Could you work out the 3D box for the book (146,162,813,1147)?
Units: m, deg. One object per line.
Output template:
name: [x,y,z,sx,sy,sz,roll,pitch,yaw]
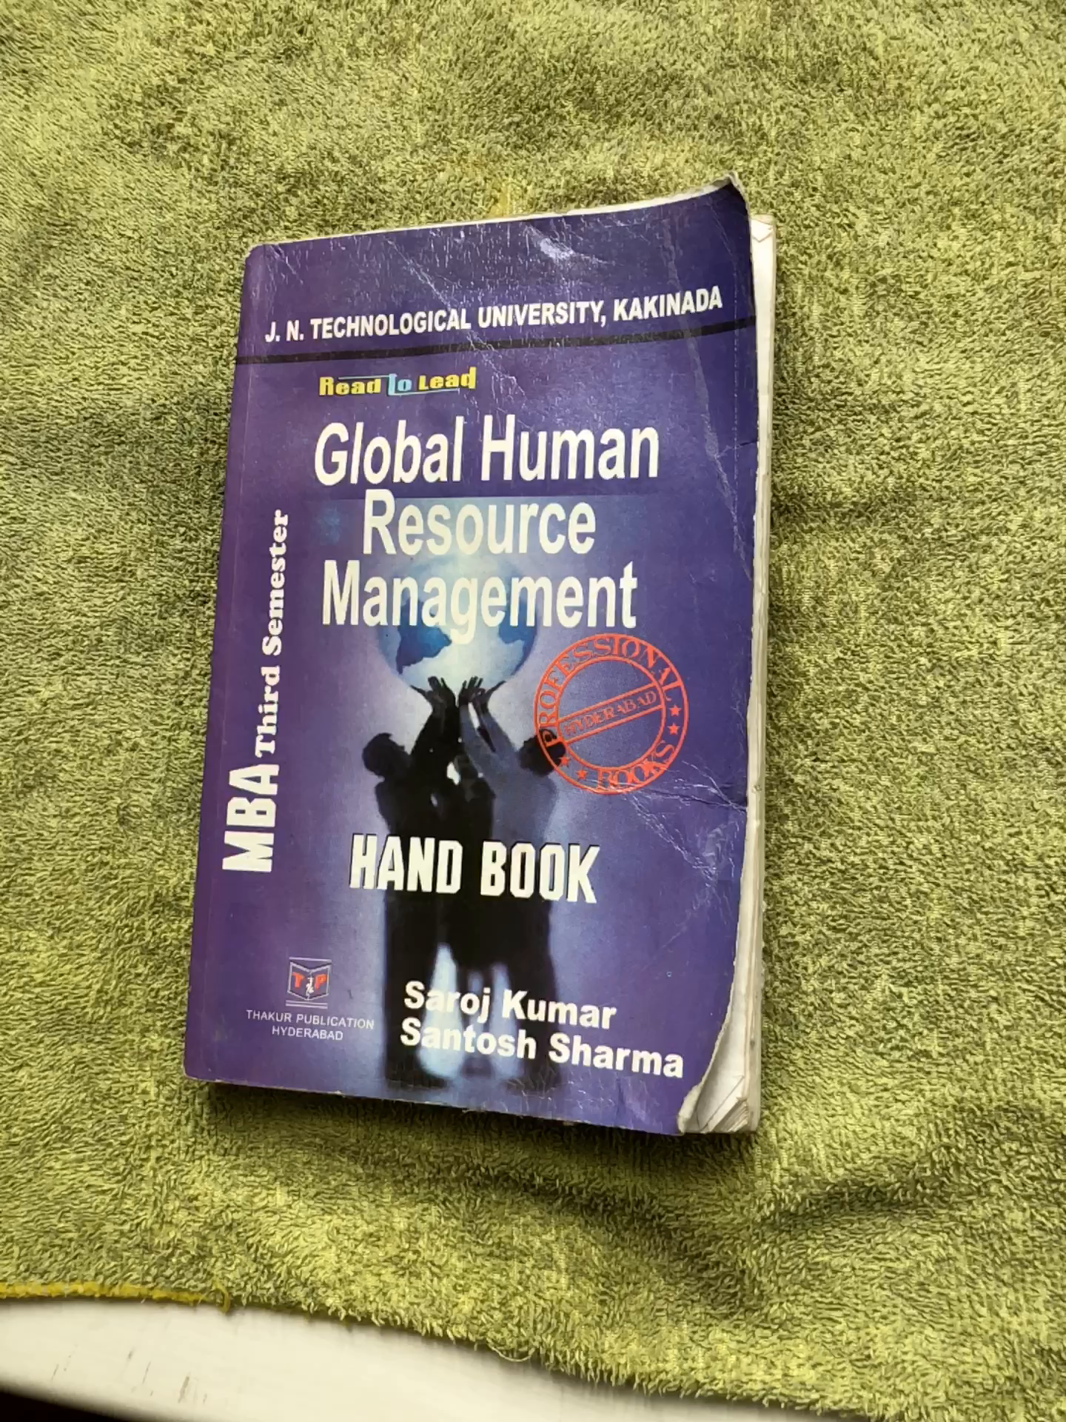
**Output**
book: [-0.009,-0.014,0.276,0.140,0.040,0.200,1,84,15]
